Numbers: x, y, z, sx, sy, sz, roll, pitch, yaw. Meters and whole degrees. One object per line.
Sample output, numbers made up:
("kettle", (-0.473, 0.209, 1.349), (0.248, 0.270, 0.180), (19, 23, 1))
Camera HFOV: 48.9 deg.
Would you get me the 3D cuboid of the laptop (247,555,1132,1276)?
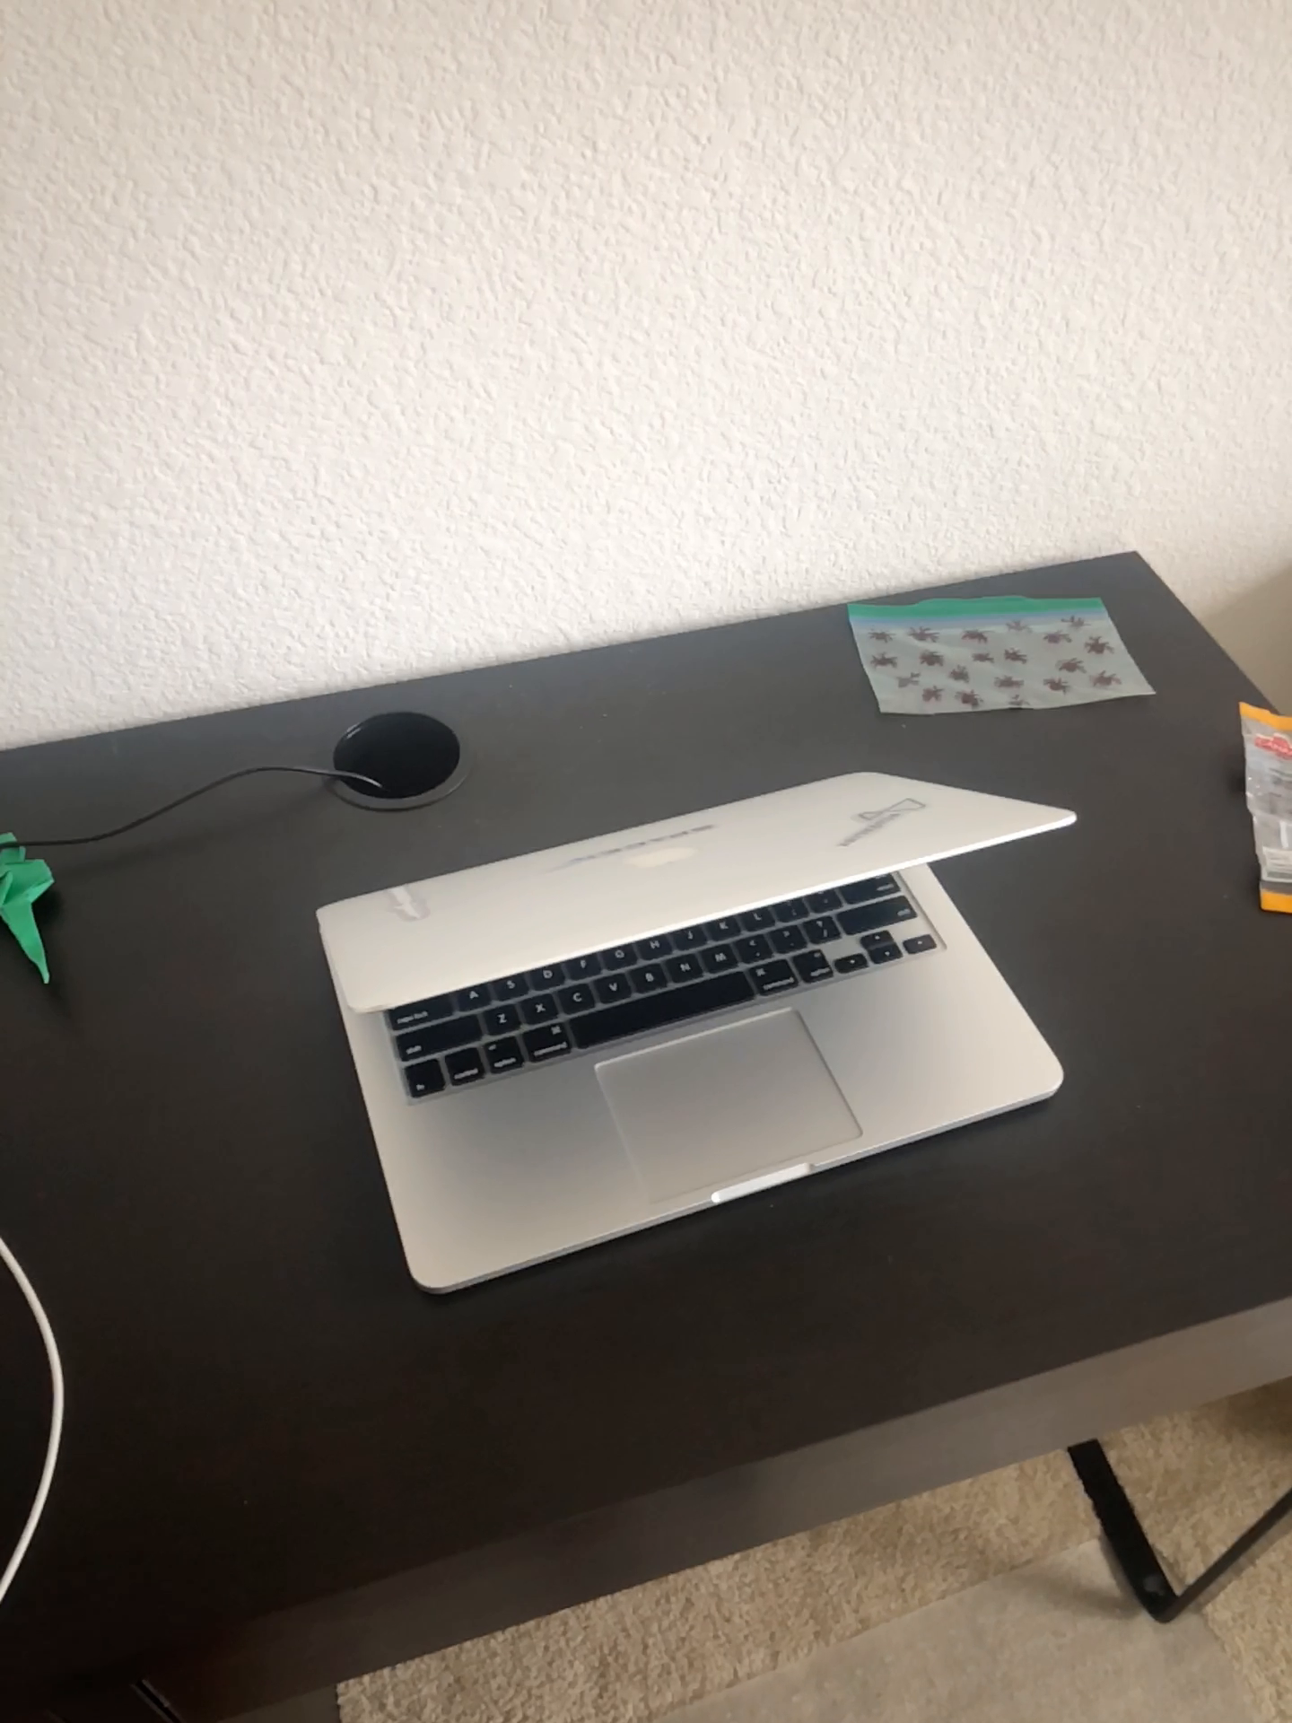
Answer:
("laptop", (0.006, 0.008, 0.637), (0.309, 0.133, 0.225), (-14, 49, -14))
